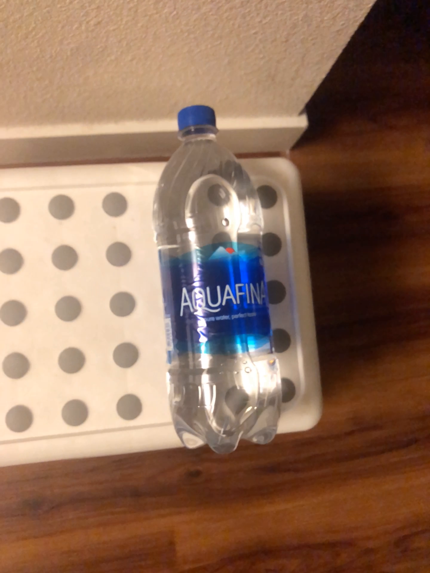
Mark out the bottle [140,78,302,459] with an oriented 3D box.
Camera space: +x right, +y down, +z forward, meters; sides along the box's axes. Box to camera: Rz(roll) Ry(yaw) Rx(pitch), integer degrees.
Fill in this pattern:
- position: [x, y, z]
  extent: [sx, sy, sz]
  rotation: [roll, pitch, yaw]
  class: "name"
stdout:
- position: [-0.002, -0.015, 0.358]
  extent: [0.090, 0.080, 0.250]
  rotation: [-3, 85, -7]
  class: "bottle"
